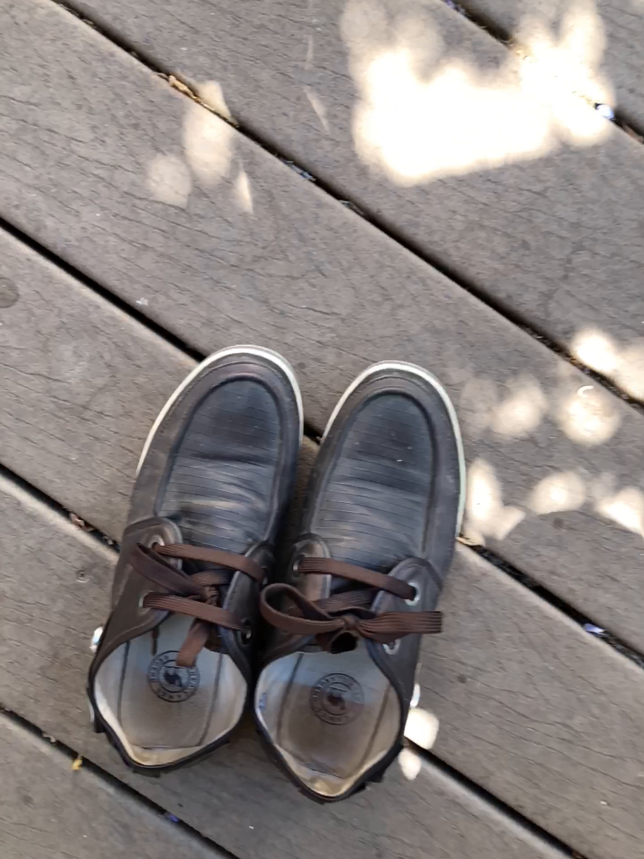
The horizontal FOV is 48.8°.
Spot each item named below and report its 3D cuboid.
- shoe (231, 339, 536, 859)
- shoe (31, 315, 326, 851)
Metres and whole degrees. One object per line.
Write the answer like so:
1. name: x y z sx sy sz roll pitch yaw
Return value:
1. shoe: 0.031 0.100 0.443 0.107 0.105 0.289 12 95 -1
2. shoe: -0.082 0.085 0.451 0.107 0.115 0.287 13 95 -1
